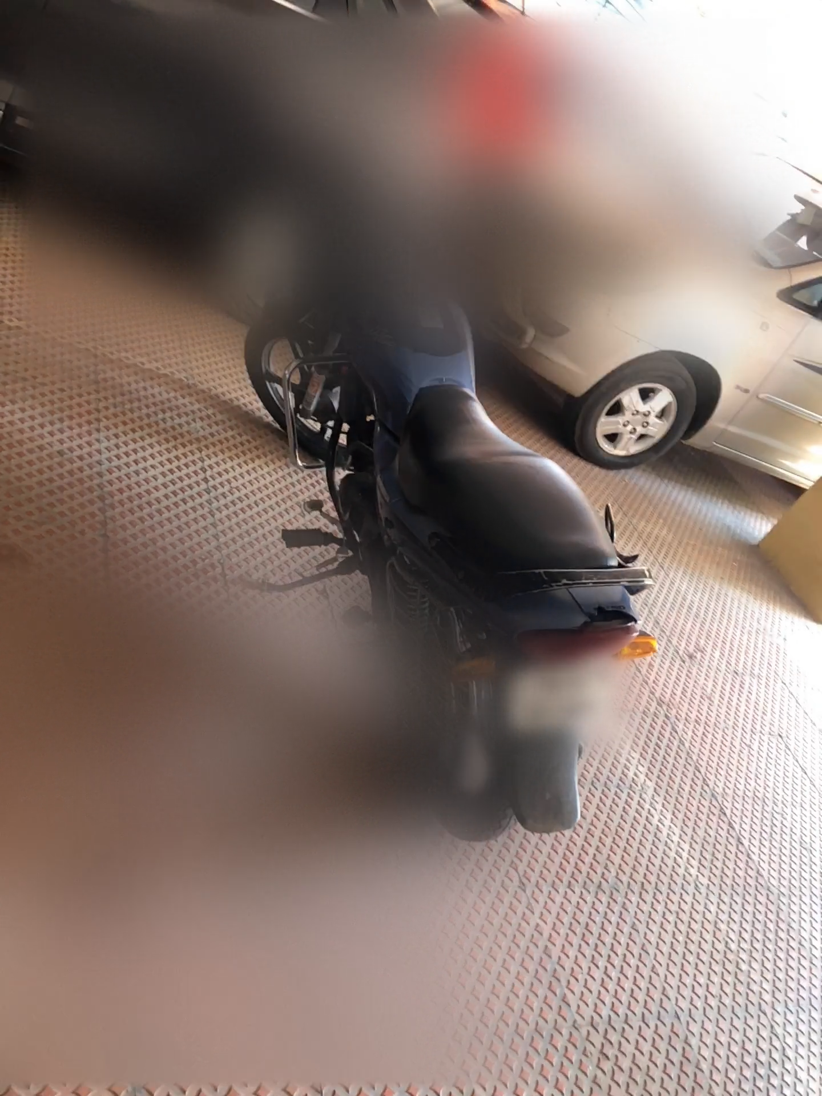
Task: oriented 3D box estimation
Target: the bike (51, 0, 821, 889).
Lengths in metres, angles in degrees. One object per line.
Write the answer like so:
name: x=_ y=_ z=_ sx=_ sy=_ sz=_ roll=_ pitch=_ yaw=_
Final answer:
bike: x=-0.119 y=-0.350 z=2.003 sx=0.735 sy=1.073 sz=1.694 roll=8 pitch=41 yaw=-39
